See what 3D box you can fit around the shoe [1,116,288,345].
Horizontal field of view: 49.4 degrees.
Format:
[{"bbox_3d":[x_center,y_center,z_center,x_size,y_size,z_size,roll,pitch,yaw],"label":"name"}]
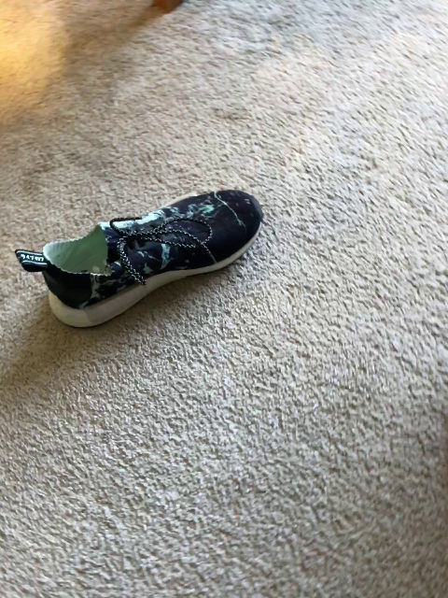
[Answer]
[{"bbox_3d":[-0.085,-0.078,0.572,0.287,0.100,0.131,-25,68,-5],"label":"shoe"}]
